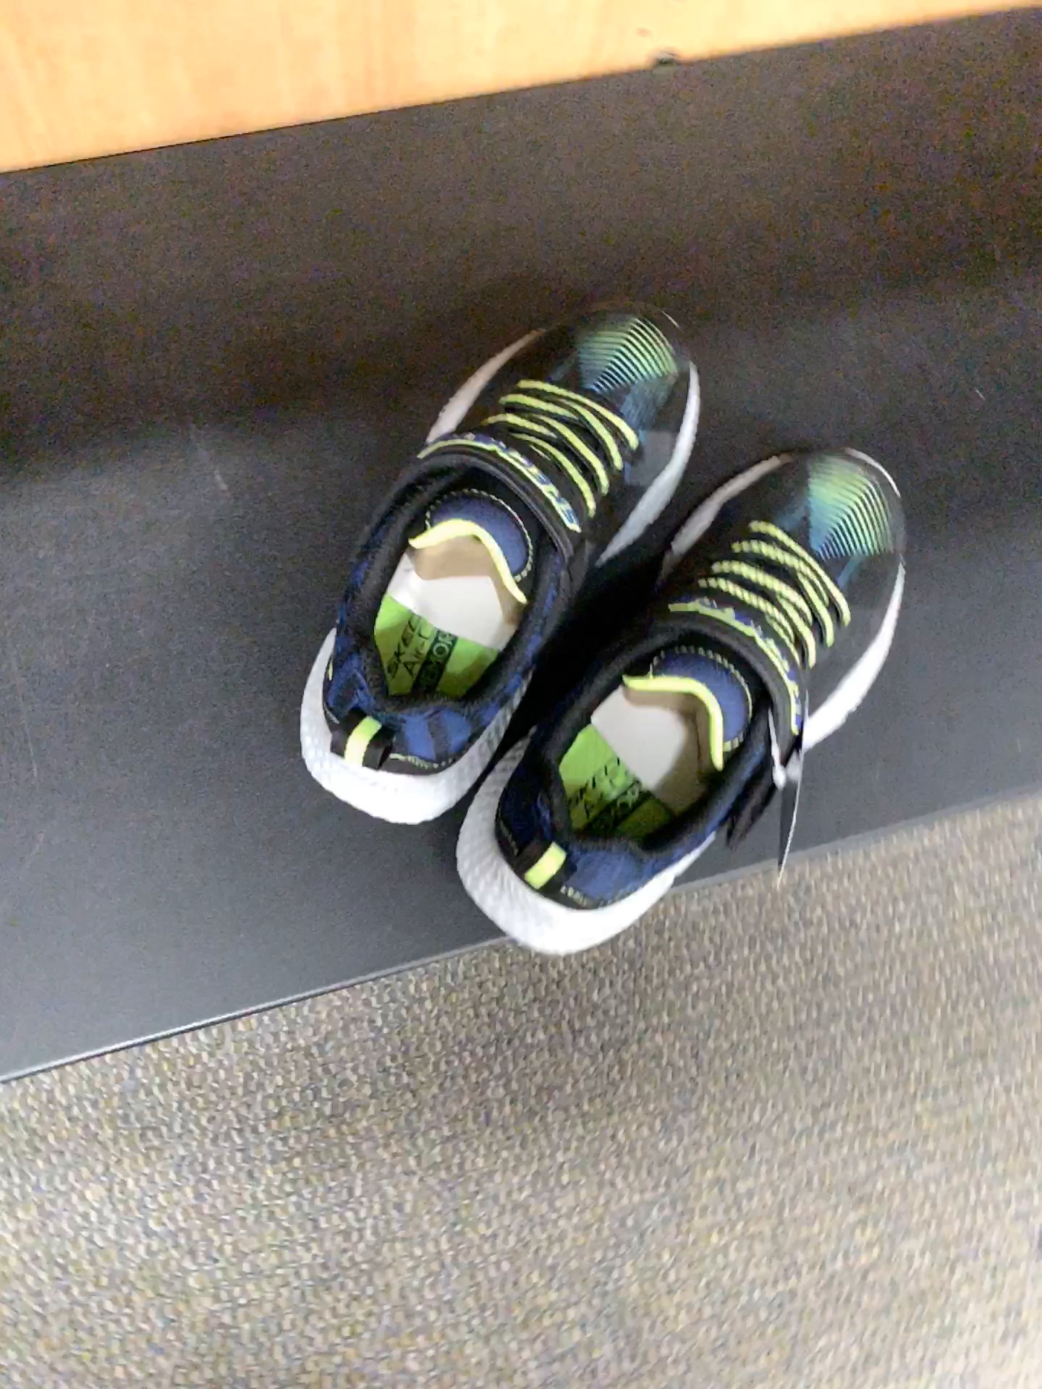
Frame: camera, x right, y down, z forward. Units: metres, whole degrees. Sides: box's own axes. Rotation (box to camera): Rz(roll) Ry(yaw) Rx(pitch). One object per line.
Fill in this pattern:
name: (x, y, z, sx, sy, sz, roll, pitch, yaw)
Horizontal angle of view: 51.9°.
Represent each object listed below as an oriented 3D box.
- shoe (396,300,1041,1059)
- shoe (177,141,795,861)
shoe: (0.068, -0.003, 0.367, 0.098, 0.100, 0.220, 38, 77, 4)
shoe: (-0.008, -0.062, 0.385, 0.092, 0.100, 0.220, 31, 77, 3)
